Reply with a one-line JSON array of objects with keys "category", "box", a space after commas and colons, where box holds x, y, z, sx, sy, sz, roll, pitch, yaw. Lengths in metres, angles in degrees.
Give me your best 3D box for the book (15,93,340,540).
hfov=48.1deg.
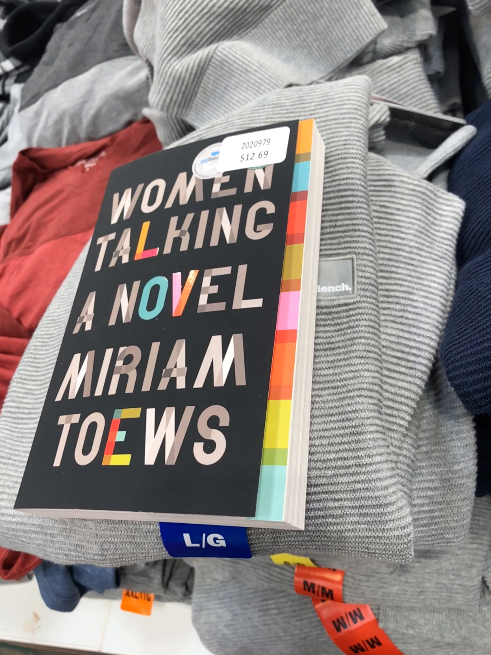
[{"category": "book", "box": [-0.025, -0.014, 0.268, 0.135, 0.020, 0.211, -8, 59, 26]}]
